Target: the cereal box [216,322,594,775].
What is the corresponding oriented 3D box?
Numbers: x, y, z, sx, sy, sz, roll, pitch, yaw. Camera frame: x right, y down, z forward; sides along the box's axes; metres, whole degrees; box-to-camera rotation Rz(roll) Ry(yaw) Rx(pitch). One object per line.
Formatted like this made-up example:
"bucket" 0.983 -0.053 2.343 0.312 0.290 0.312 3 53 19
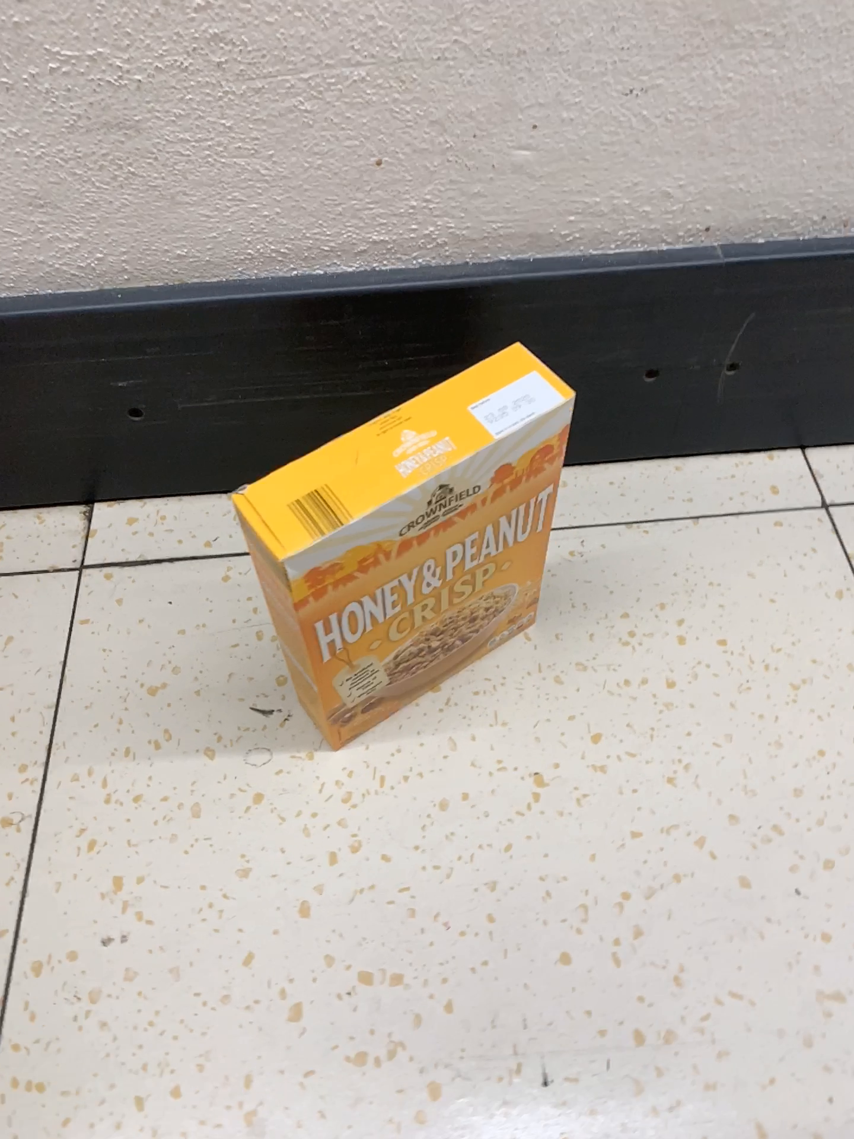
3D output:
"cereal box" -0.006 0.005 0.536 0.190 0.268 0.050 -32 62 -19
